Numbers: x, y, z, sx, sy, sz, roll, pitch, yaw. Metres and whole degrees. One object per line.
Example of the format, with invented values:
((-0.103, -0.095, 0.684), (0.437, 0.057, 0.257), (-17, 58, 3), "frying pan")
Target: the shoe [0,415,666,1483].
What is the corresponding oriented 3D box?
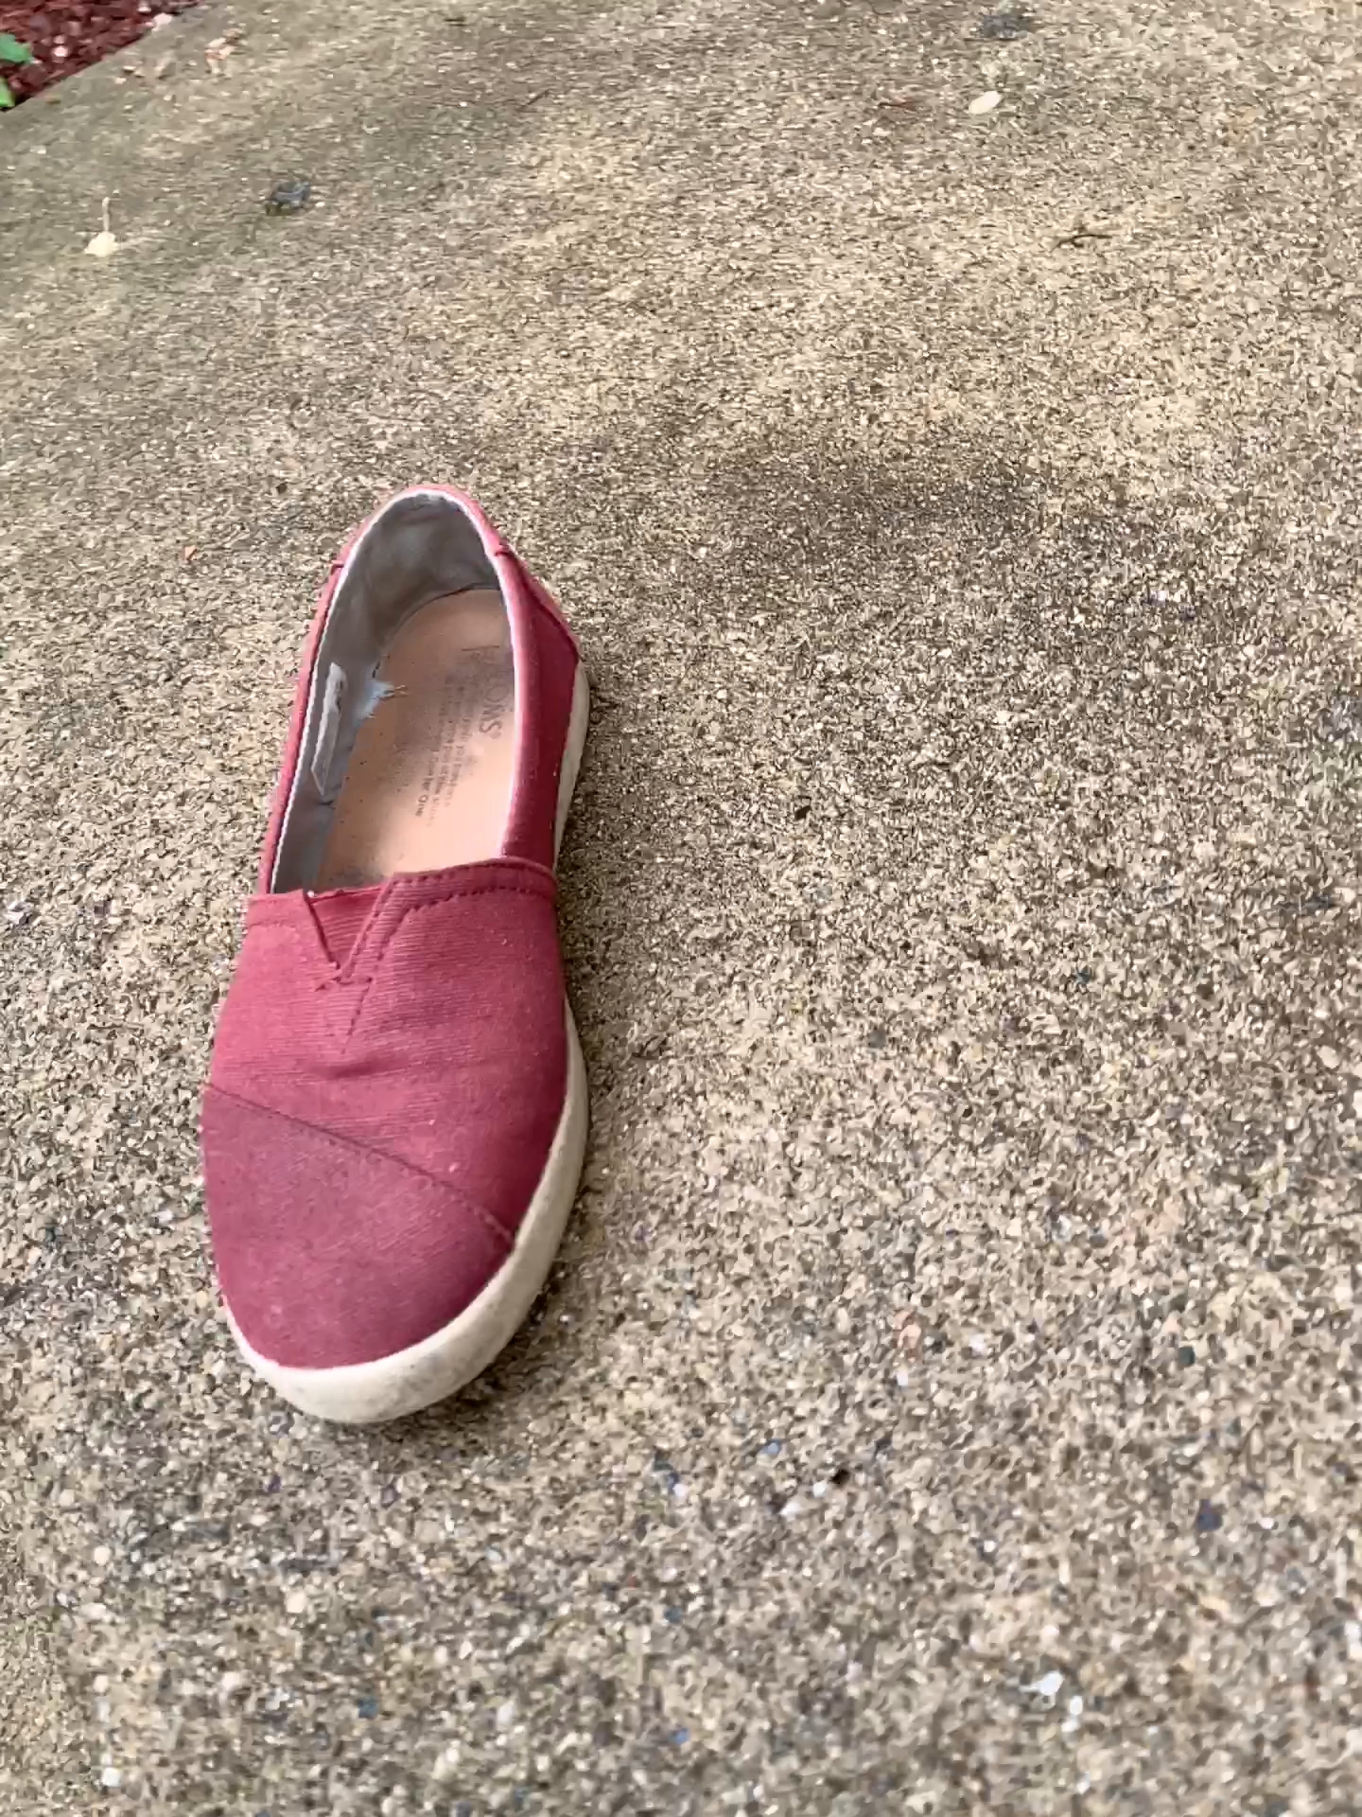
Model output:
((-0.075, -0.002, 0.365), (0.098, 0.089, 0.266), (-5, 53, 15), "shoe")
